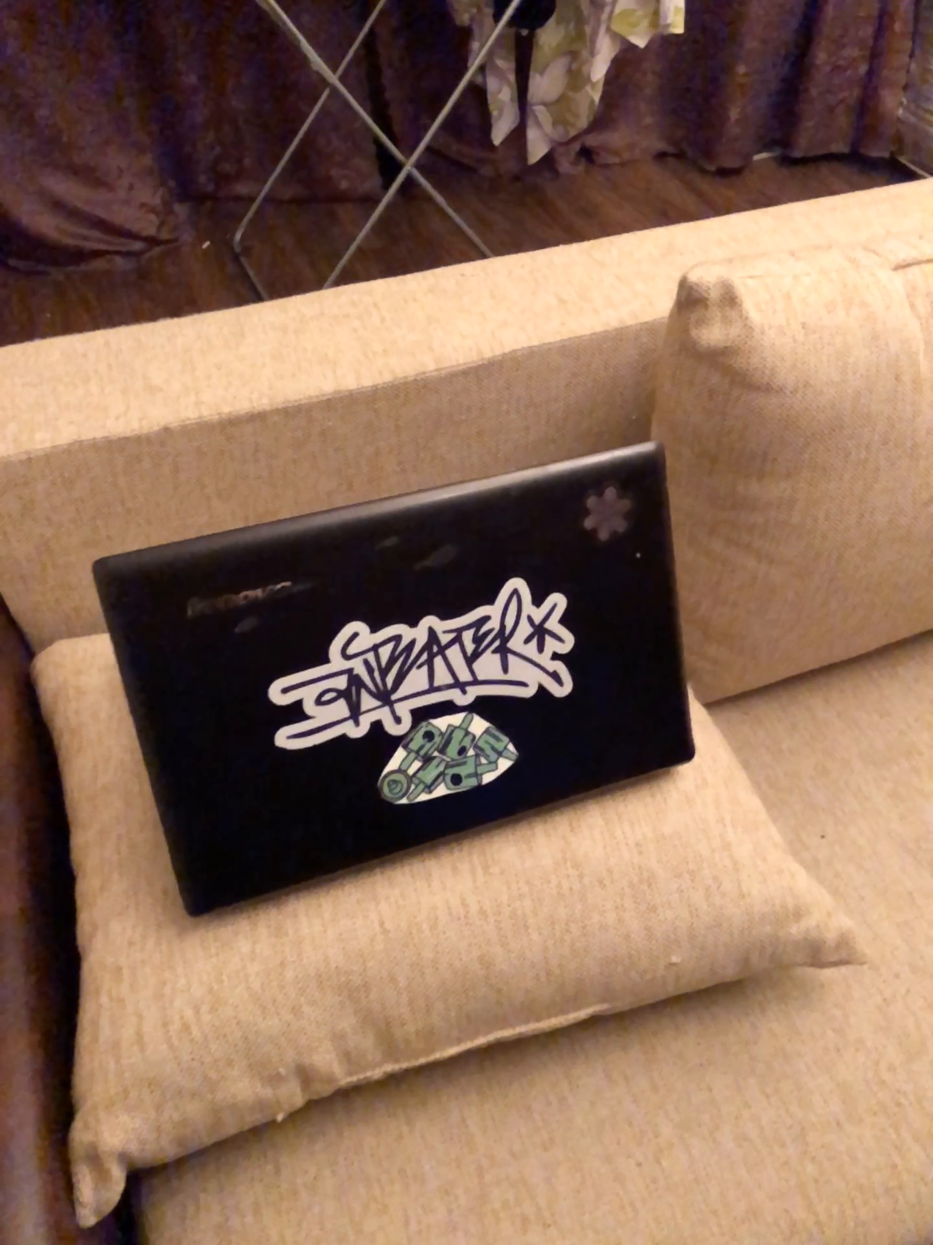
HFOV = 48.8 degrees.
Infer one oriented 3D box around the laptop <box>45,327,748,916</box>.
[{"bbox_3d":[-0.054,-0.015,0.780,0.413,0.222,0.268,-15,53,-16],"label":"laptop"}]
